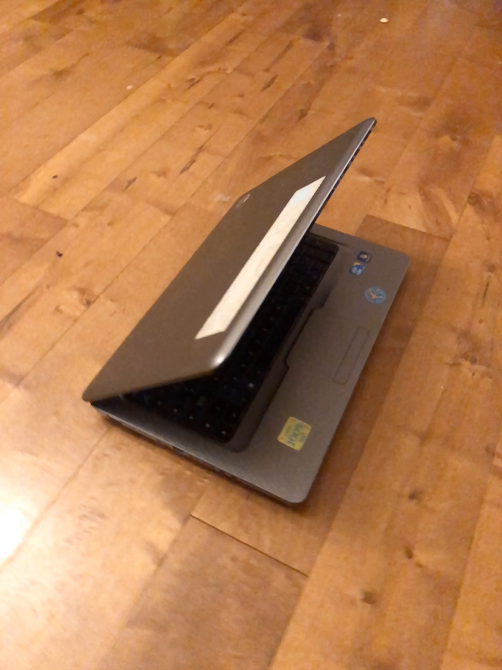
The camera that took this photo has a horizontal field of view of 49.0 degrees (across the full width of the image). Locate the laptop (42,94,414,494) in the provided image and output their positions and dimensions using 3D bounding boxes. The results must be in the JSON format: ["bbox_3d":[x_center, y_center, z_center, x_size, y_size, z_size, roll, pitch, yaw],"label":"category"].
[{"bbox_3d":[0.002,-0.066,0.582,0.223,0.164,0.348,21,54,14],"label":"laptop"}]
